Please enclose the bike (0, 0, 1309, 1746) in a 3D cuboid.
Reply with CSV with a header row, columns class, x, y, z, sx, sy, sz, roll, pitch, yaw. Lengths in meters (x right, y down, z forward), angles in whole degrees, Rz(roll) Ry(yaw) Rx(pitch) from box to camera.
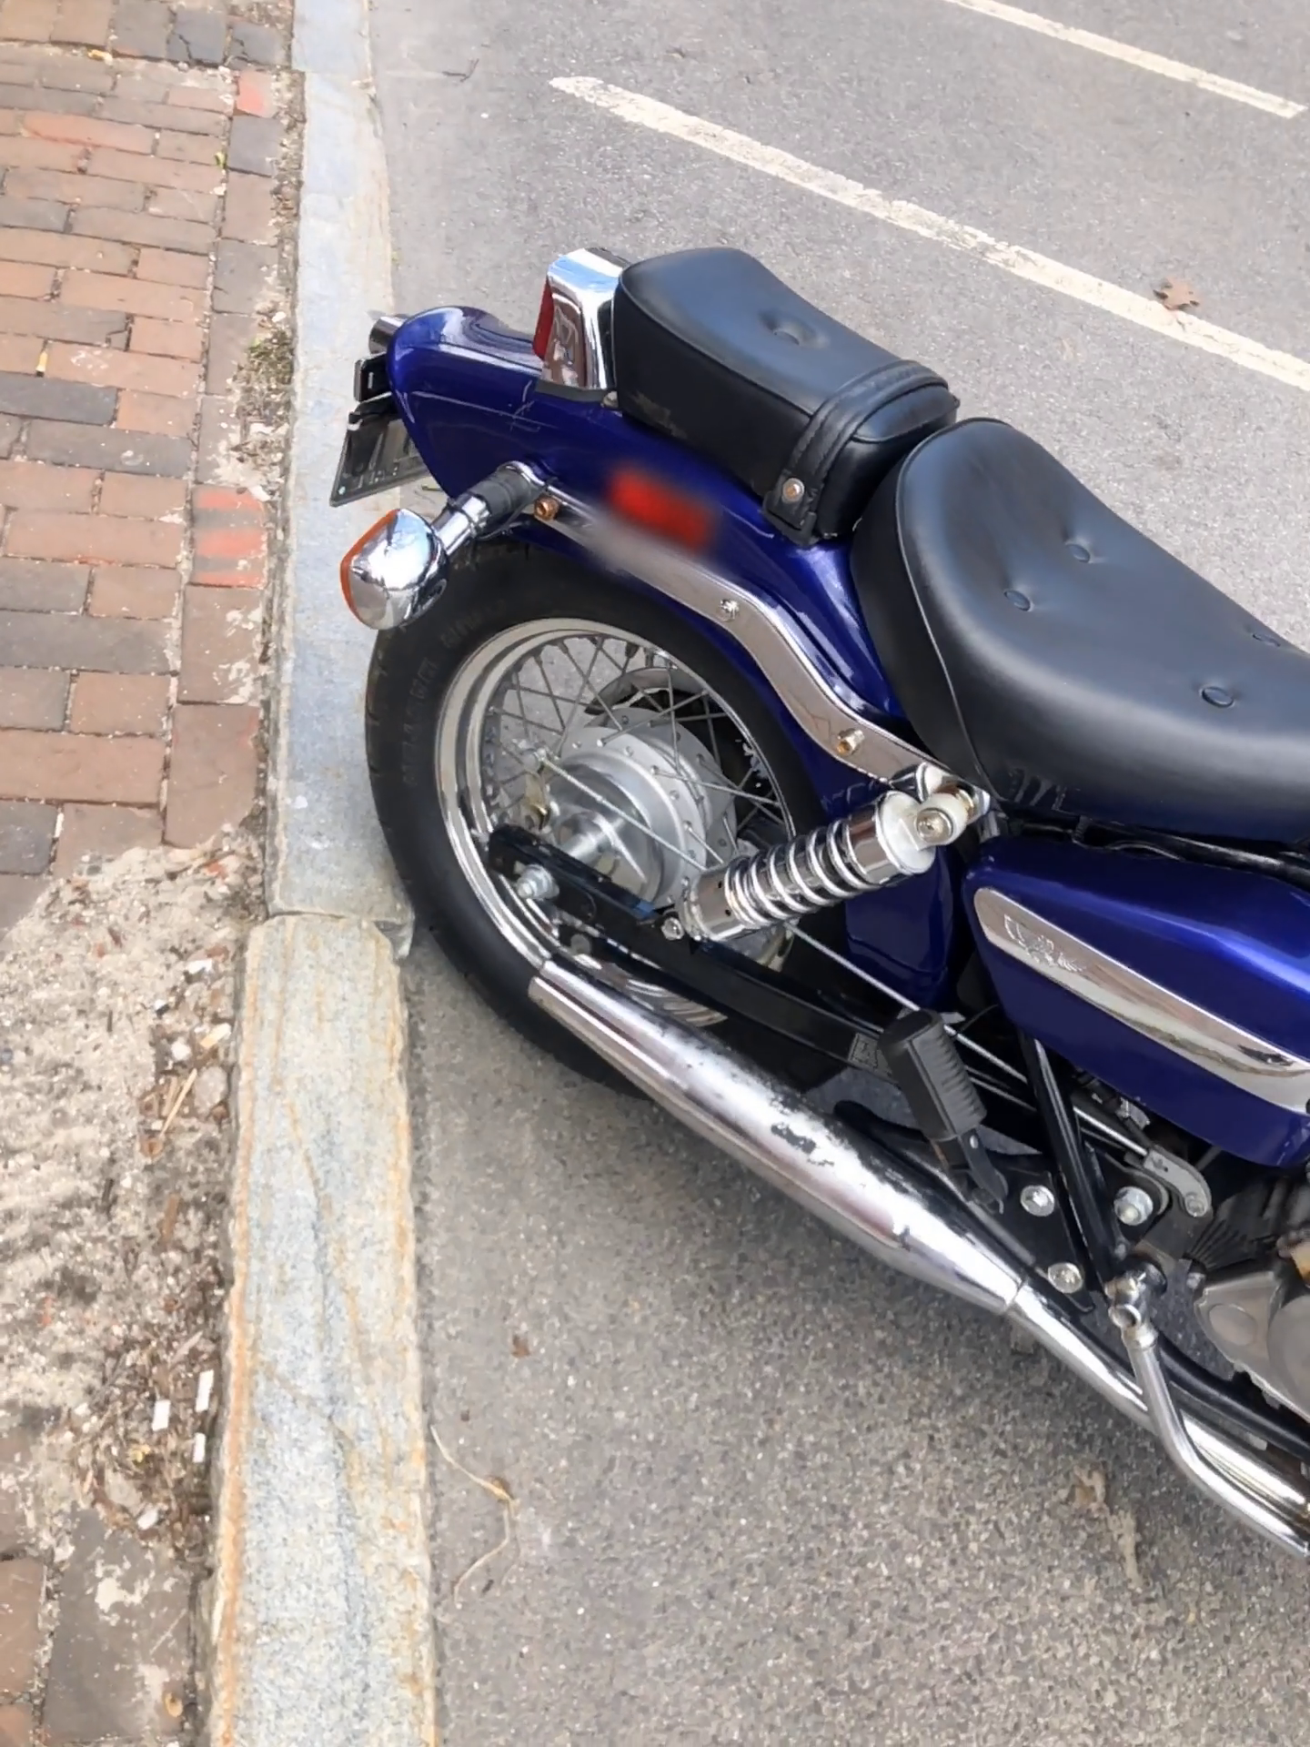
class,x,y,z,sx,sy,sz,roll,pitch,yaw
bike,0.665,-0.016,0.938,1.907,1.036,0.793,28,49,19
